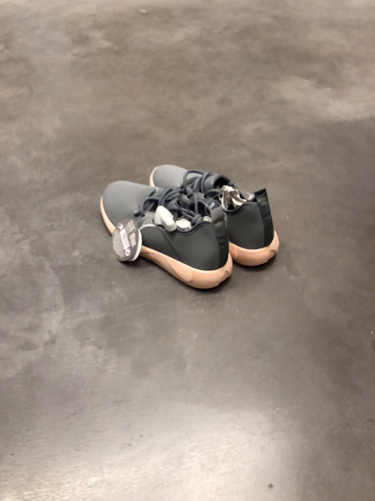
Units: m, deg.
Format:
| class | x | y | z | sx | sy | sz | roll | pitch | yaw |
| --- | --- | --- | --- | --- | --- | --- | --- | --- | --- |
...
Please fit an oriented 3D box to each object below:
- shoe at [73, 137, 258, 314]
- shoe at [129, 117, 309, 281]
| class | x | y | z | sx | sy | sz | roll | pitch | yaw |
| --- | --- | --- | --- | --- | --- | --- | --- | --- | --- |
| shoe | -0.035 | -0.042 | 0.553 | 0.240 | 0.099 | 0.090 | 36 | 56 | 28 |
| shoe | 0.033 | -0.081 | 0.583 | 0.090 | 0.099 | 0.240 | -34 | 56 | -29 |
